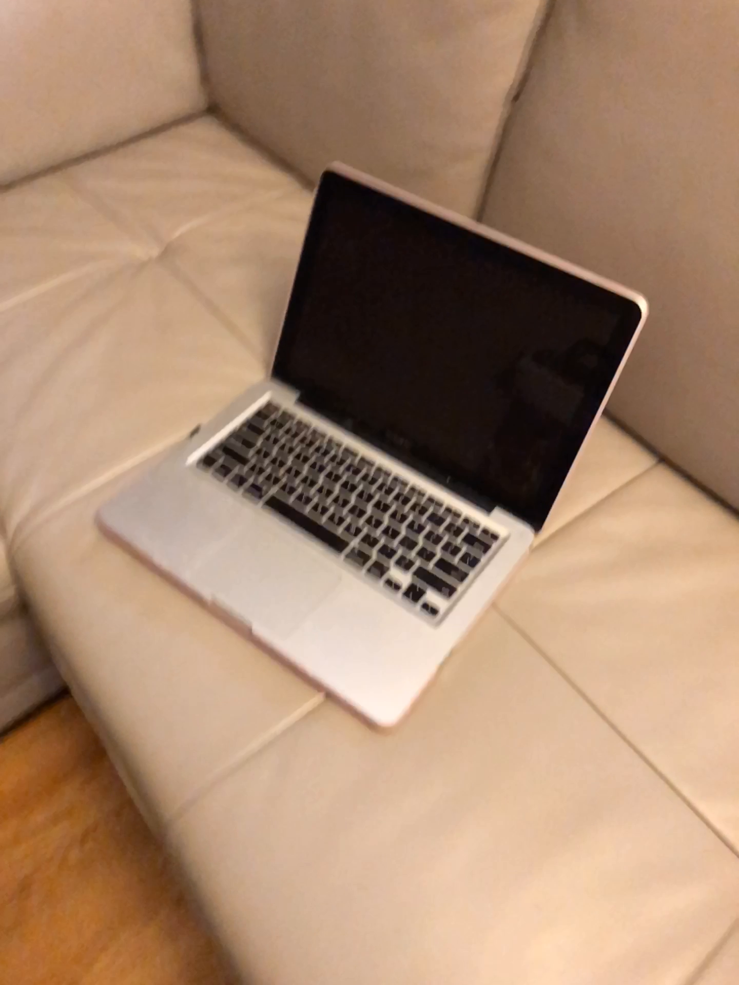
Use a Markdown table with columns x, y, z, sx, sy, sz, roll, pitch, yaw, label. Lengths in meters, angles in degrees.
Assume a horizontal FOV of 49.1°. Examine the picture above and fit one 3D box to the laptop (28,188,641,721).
| x | y | z | sx | sy | sz | roll | pitch | yaw | label |
| --- | --- | --- | --- | --- | --- | --- | --- | --- | --- |
| -0.015 | -0.053 | 0.660 | 0.309 | 0.167 | 0.323 | 31 | 59 | 23 | laptop |
